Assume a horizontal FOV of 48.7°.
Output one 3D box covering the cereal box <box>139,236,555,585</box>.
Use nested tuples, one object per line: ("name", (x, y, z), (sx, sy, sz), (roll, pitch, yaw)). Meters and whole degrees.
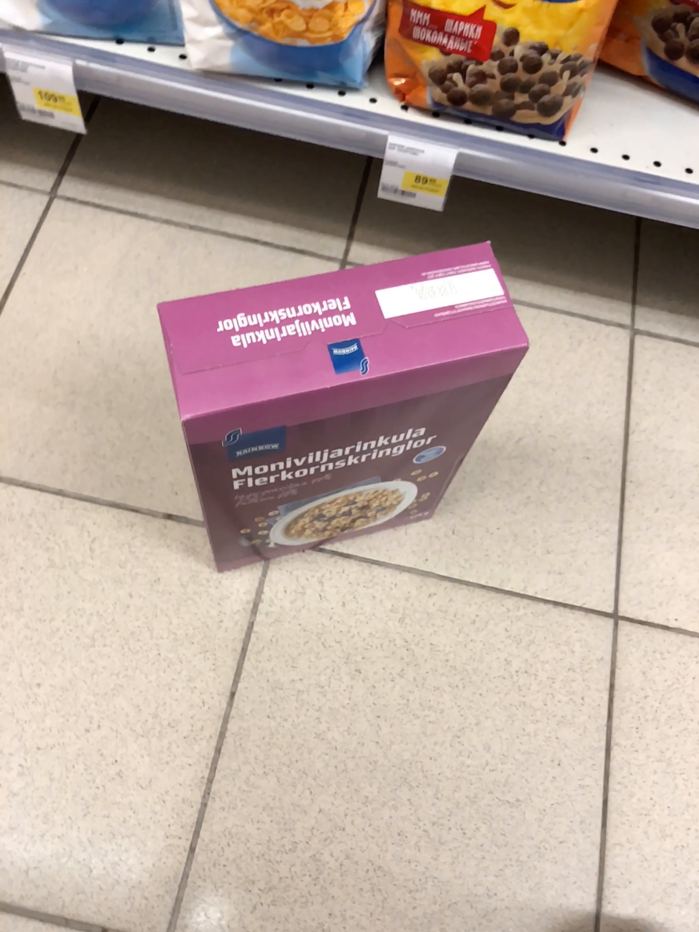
("cereal box", (-0.011, -0.018, 0.541), (0.210, 0.279, 0.080), (-13, 68, -11))
